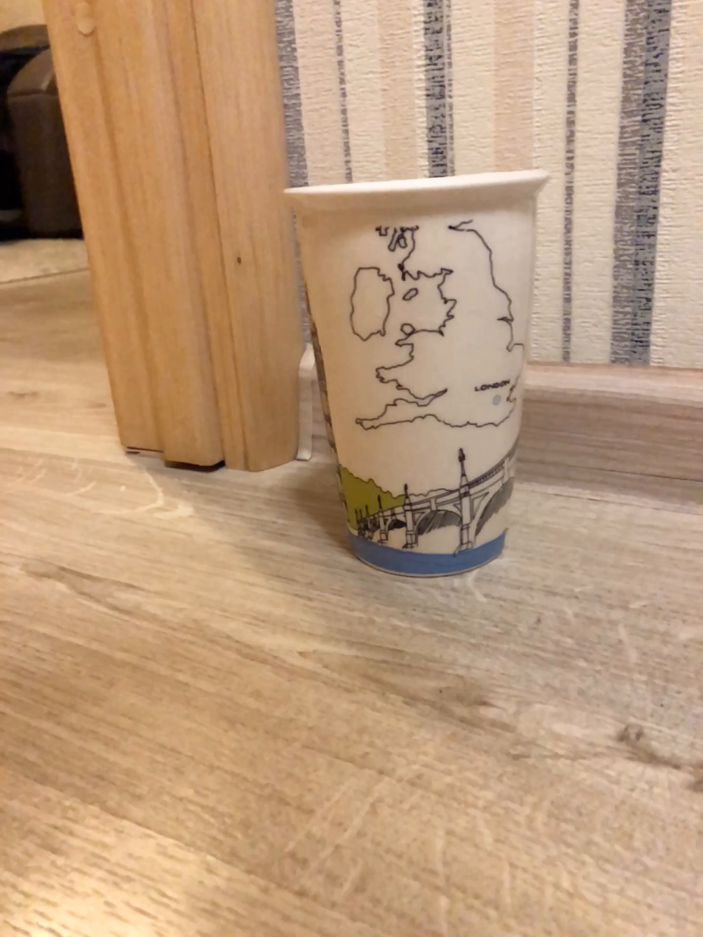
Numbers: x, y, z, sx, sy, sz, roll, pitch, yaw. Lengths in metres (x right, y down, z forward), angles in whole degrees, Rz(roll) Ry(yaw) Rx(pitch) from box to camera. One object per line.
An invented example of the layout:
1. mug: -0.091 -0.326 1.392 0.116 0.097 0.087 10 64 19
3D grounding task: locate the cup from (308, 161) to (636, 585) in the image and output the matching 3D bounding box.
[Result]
1. cup: 0.038 -0.042 0.296 0.097 0.133 0.096 -3 20 1
